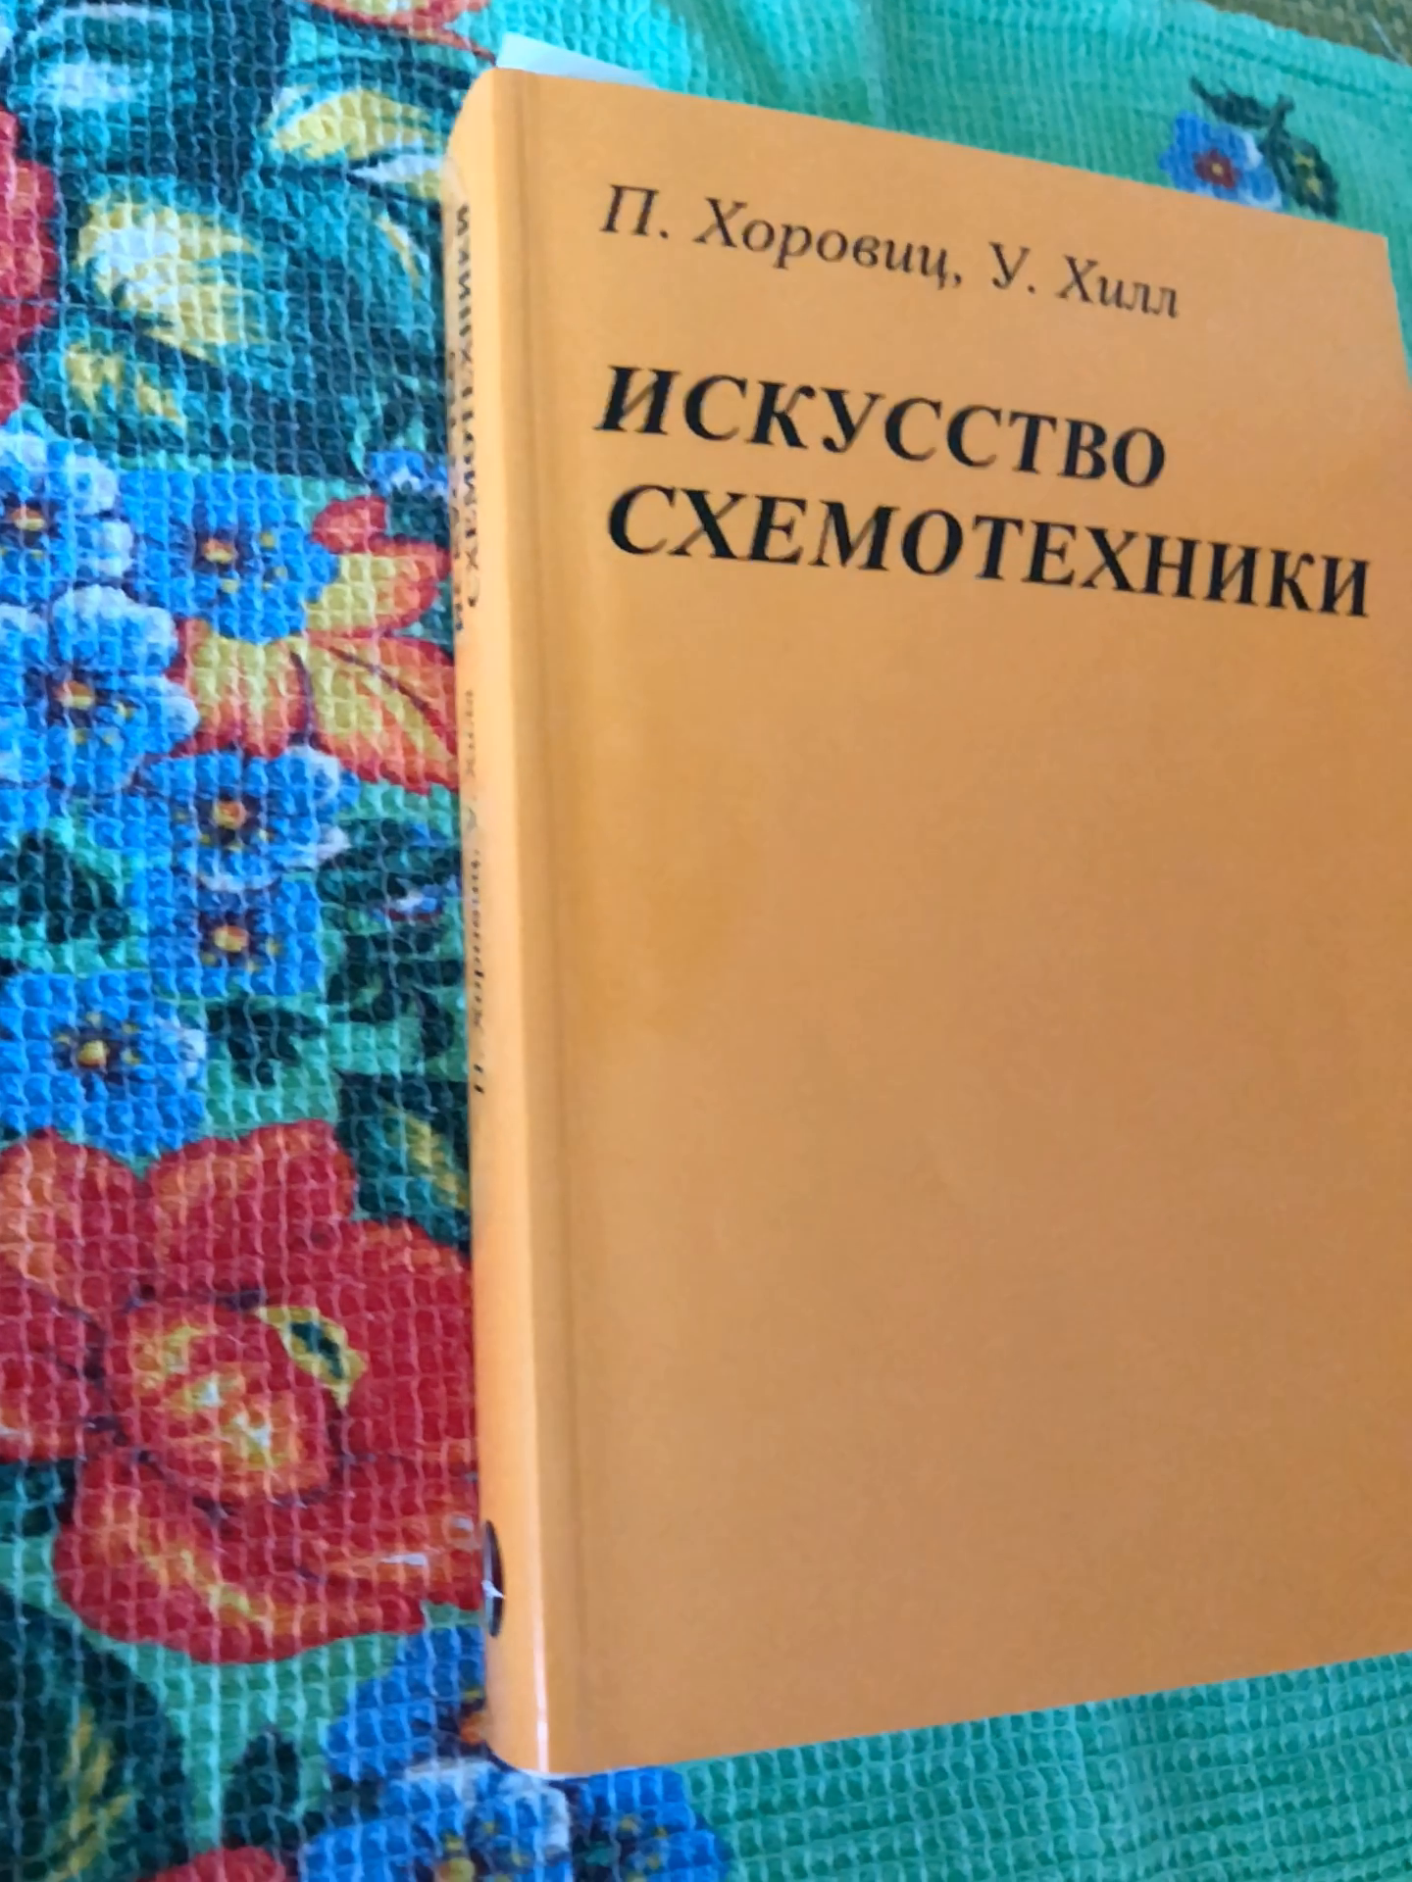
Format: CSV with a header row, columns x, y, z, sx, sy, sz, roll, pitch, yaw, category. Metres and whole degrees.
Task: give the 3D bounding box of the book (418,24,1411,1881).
x,y,z,sx,sy,sz,roll,pitch,yaw,category
0.049,-0.010,0.258,0.180,0.050,0.260,2,71,-18,book
